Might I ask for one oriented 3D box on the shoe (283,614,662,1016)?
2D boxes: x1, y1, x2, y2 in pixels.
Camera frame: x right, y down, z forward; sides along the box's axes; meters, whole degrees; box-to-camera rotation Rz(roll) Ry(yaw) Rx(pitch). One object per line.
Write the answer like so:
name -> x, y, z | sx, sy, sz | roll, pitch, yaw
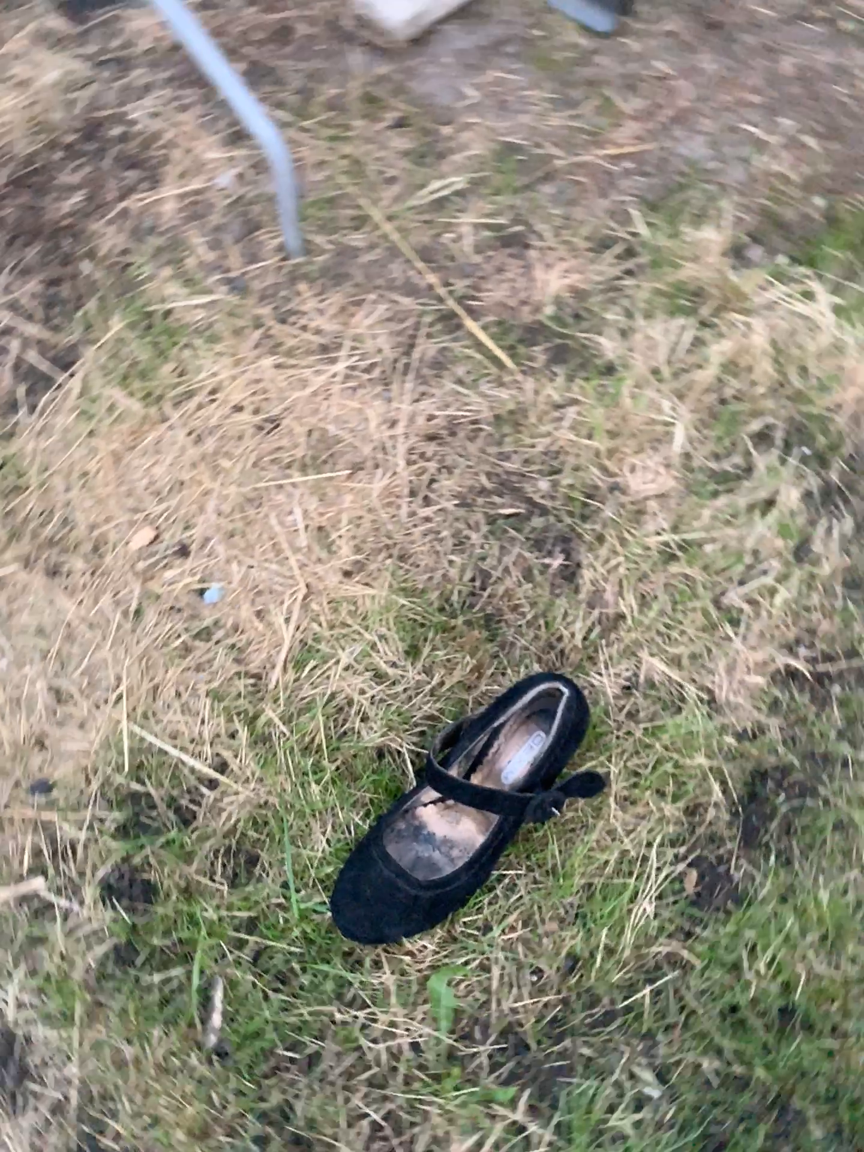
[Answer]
shoe -> 0.030, 0.167, 0.631 | 0.110, 0.109, 0.251 | 41, 71, 15
